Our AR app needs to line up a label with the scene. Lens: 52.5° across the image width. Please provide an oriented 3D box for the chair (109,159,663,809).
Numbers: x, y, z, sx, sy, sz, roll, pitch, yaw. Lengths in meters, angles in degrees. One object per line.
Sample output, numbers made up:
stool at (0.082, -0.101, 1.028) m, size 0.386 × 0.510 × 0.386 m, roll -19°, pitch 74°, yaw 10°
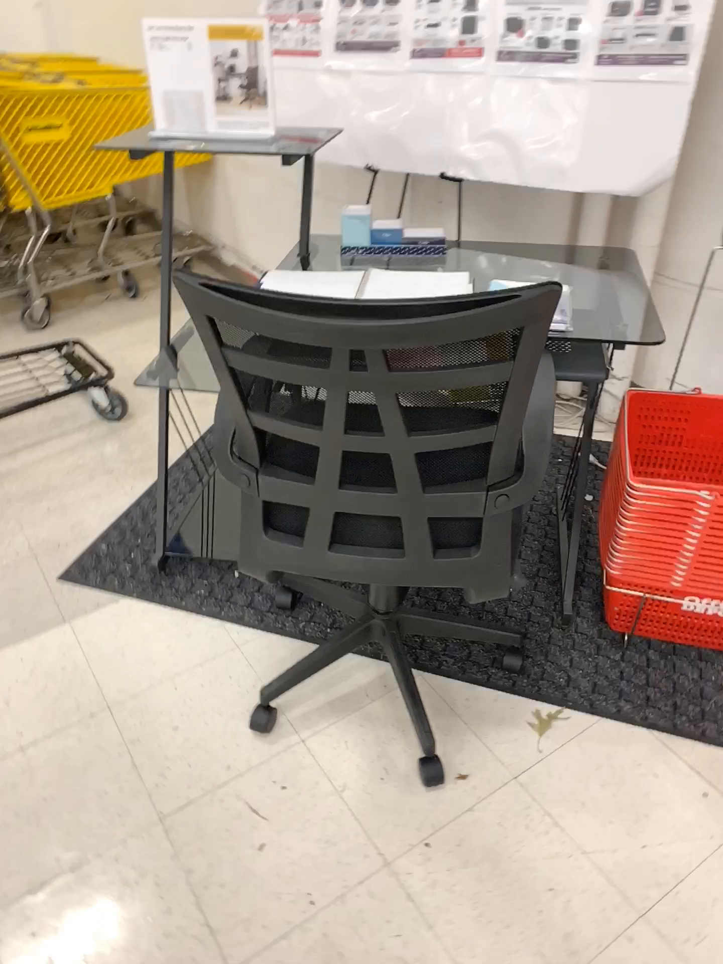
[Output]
chair at (0.059, -0.020, 1.359) m, size 0.614 × 0.942 × 0.698 m, roll 3°, pitch 34°, yaw 6°
